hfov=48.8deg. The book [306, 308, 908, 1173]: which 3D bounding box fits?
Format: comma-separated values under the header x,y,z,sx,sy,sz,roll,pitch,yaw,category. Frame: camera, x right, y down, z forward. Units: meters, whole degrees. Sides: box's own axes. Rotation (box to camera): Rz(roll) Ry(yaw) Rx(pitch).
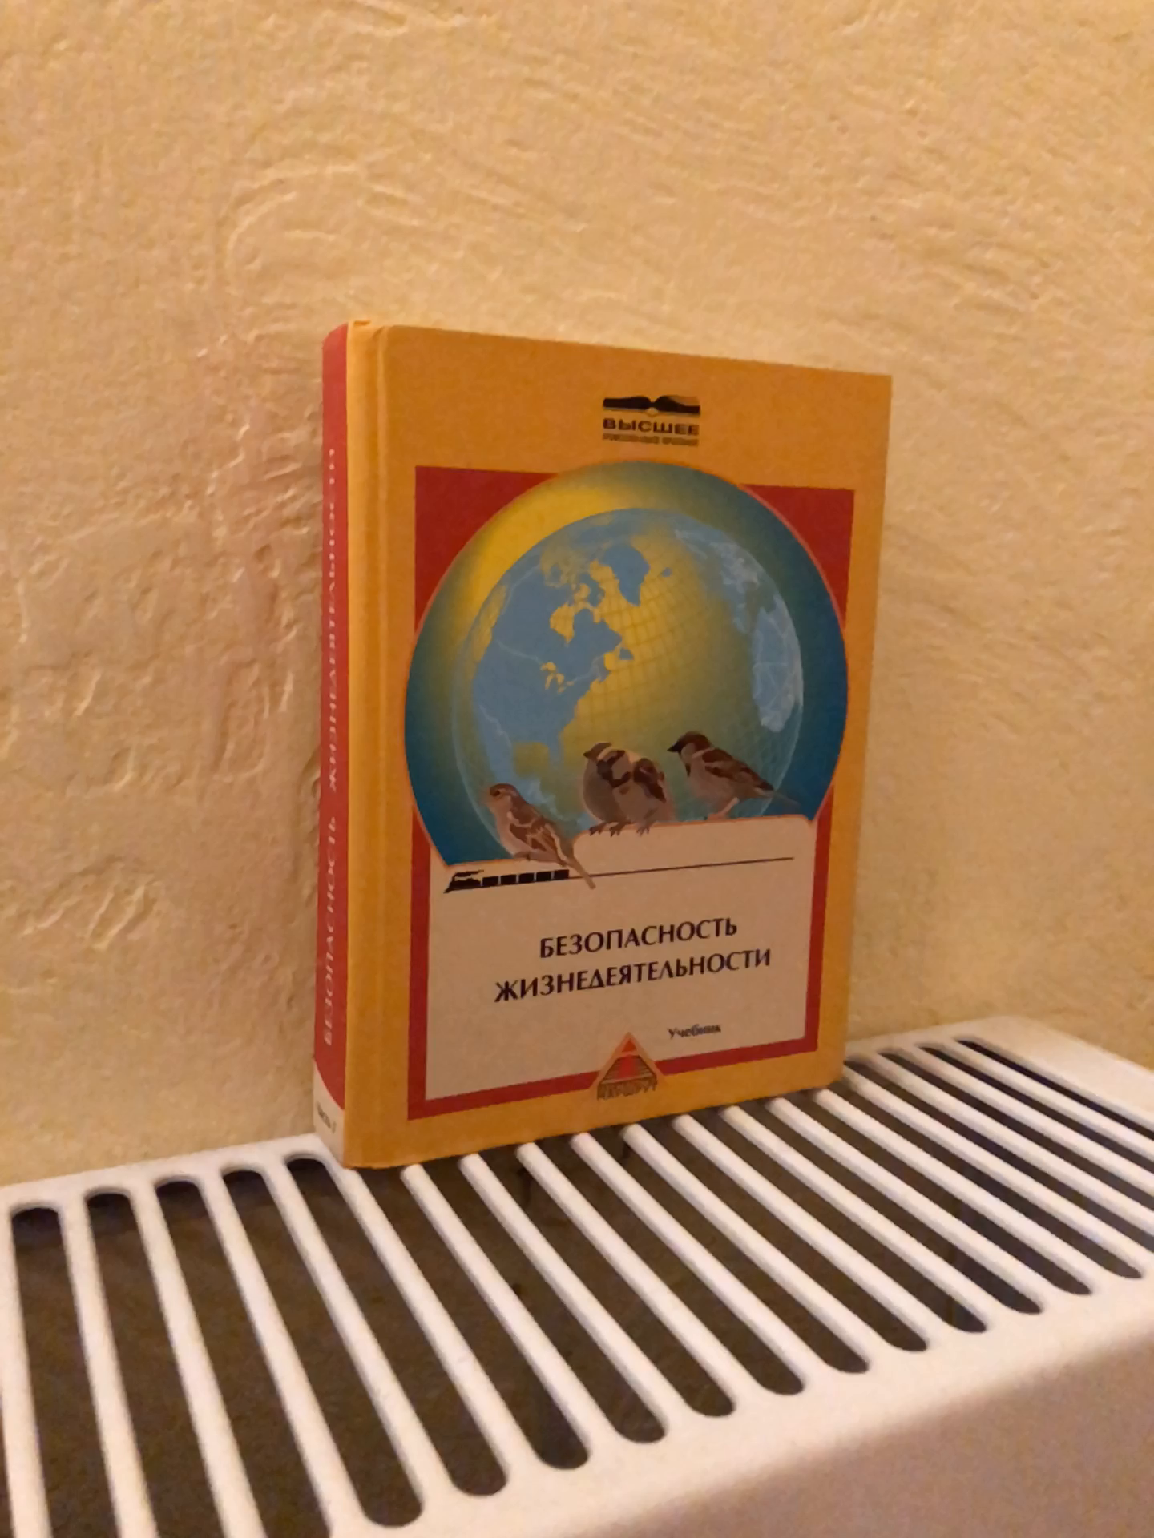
x,y,z,sx,sy,sz,roll,pitch,yaw,category
0.007,-0.008,0.343,0.150,0.203,0.041,-3,12,-24,book
